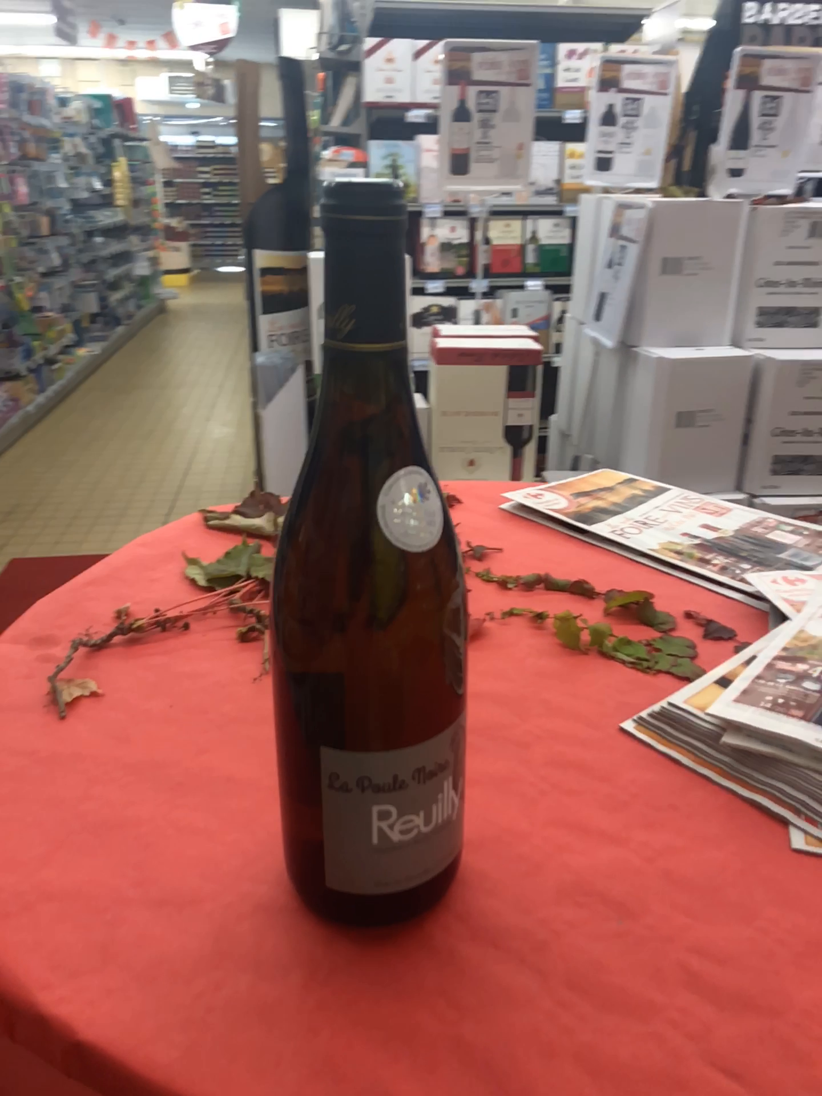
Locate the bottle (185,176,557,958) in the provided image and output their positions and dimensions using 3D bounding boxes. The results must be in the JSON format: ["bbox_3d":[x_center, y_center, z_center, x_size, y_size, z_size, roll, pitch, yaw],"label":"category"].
[{"bbox_3d":[-0.015,0.004,0.356,0.090,0.279,0.090,0,21,0],"label":"bottle"}]
